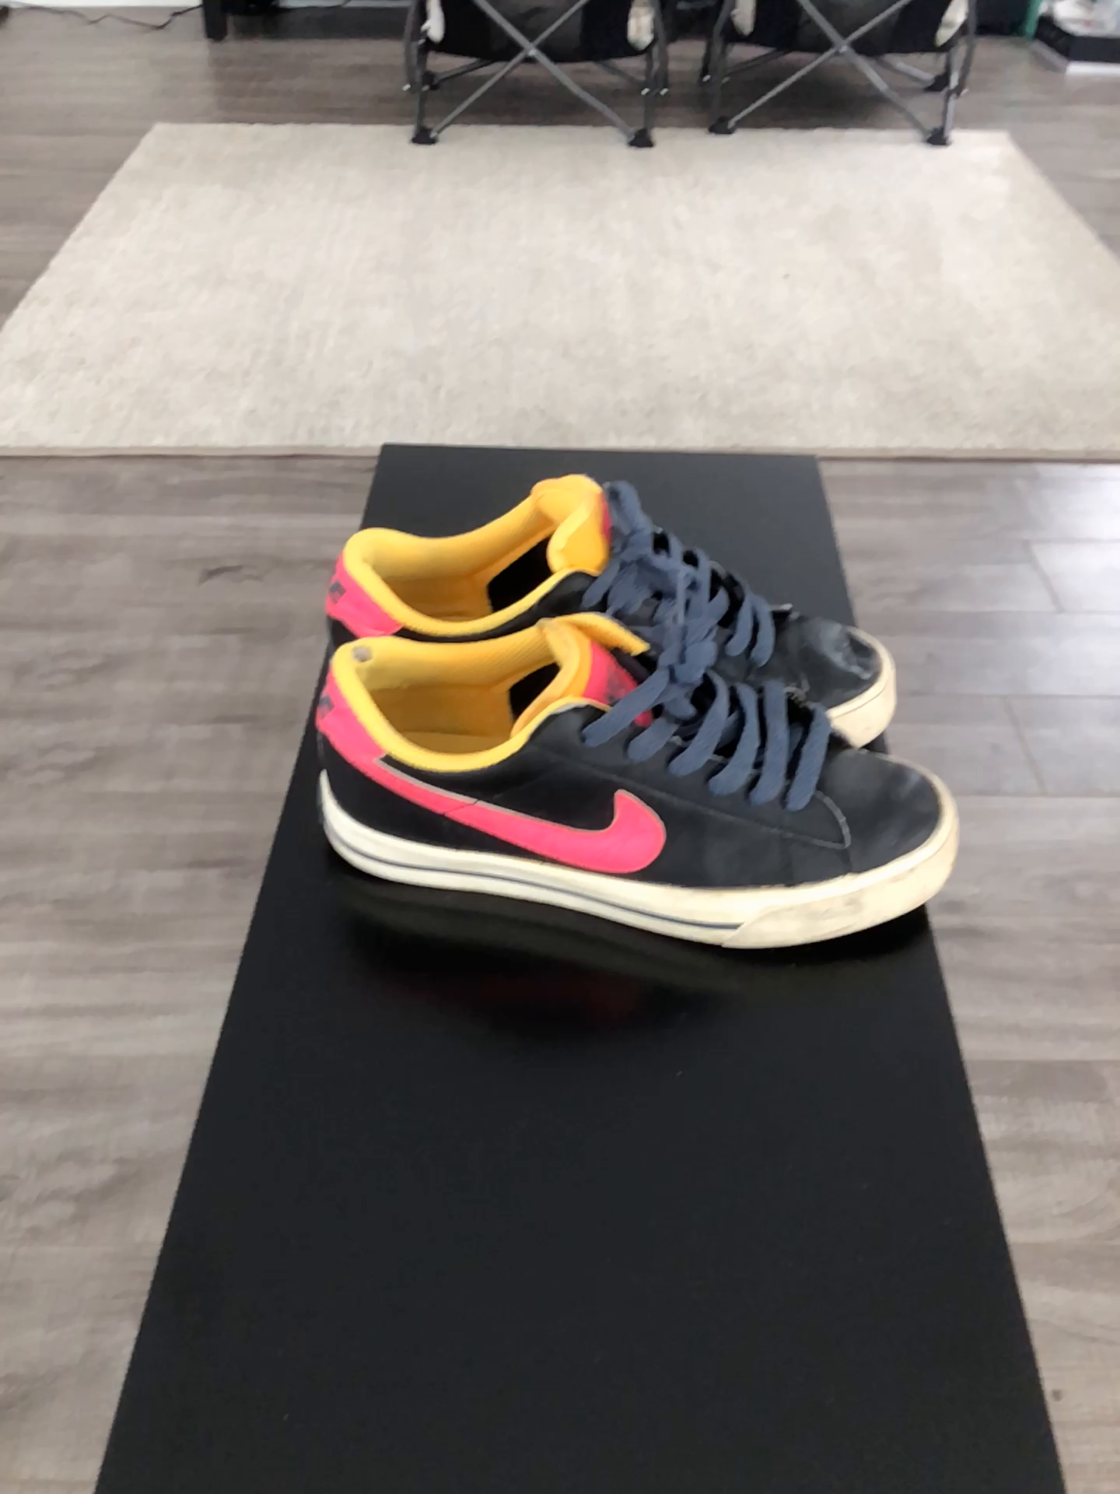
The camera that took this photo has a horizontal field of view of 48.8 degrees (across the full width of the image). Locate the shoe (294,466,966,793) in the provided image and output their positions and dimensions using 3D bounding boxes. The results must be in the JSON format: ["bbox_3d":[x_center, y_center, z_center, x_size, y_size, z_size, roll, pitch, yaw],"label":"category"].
[{"bbox_3d":[0.025,-0.049,0.515,0.244,0.100,0.090,0,46,-1],"label":"shoe"}]

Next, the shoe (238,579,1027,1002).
[{"bbox_3d":[0.024,0.015,0.451,0.244,0.100,0.096,4,46,4],"label":"shoe"}]
